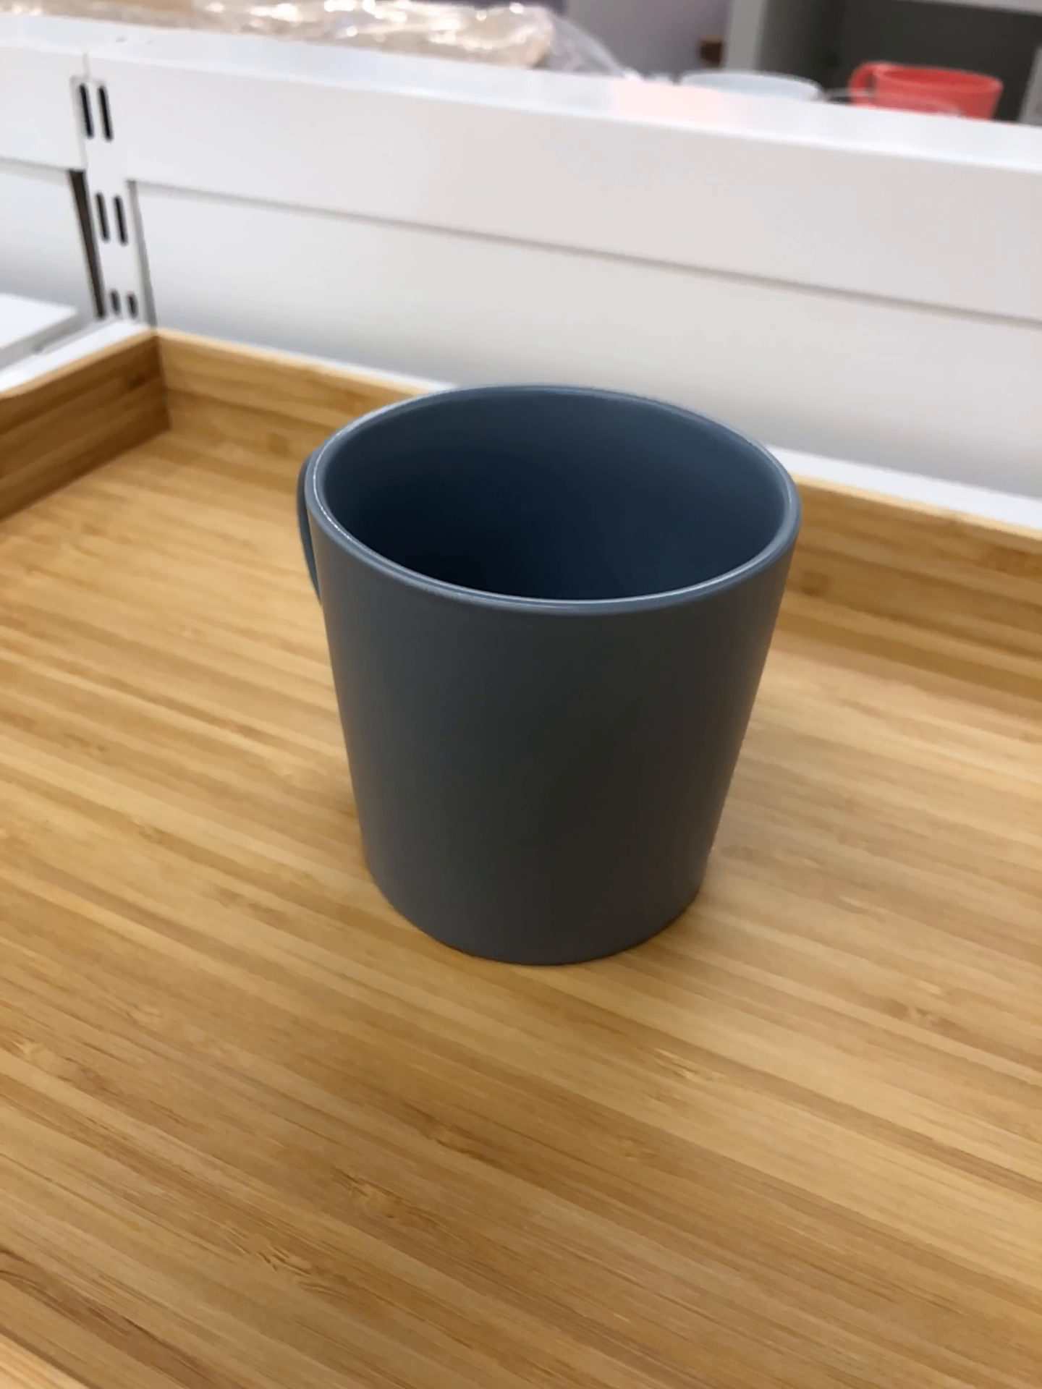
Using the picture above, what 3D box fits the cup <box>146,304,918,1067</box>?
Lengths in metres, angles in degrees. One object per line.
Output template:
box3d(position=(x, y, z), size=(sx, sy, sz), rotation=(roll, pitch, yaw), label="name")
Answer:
box3d(position=(-0.004, -0.013, 0.248), size=(0.090, 0.090, 0.120), rotation=(-23, 44, -32), label="cup")
